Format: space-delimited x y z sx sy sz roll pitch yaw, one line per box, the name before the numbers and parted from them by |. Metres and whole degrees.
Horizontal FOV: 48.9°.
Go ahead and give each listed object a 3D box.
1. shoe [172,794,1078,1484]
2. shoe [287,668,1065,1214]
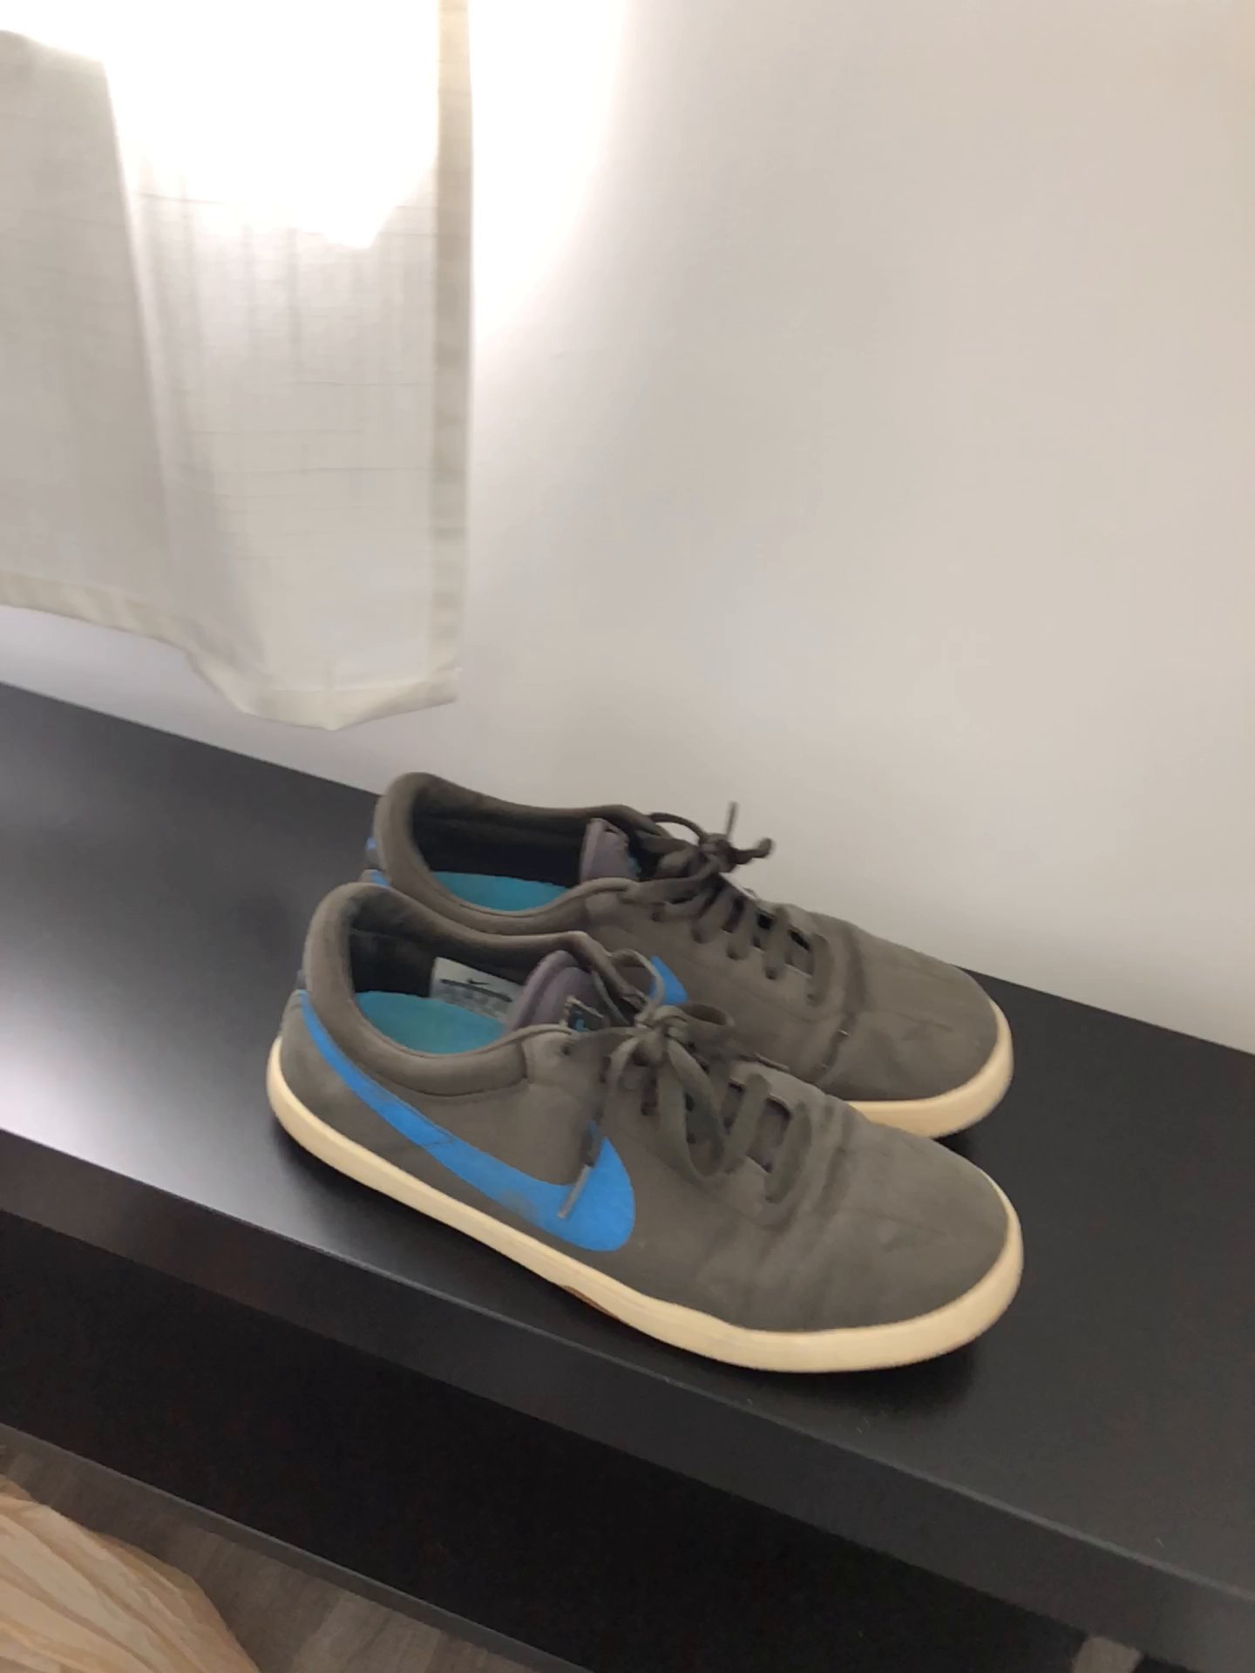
shoe | -0.005 0.095 0.482 0.280 0.110 0.100 18 36 13
shoe | 0.017 0.035 0.553 0.280 0.110 0.100 15 36 10
